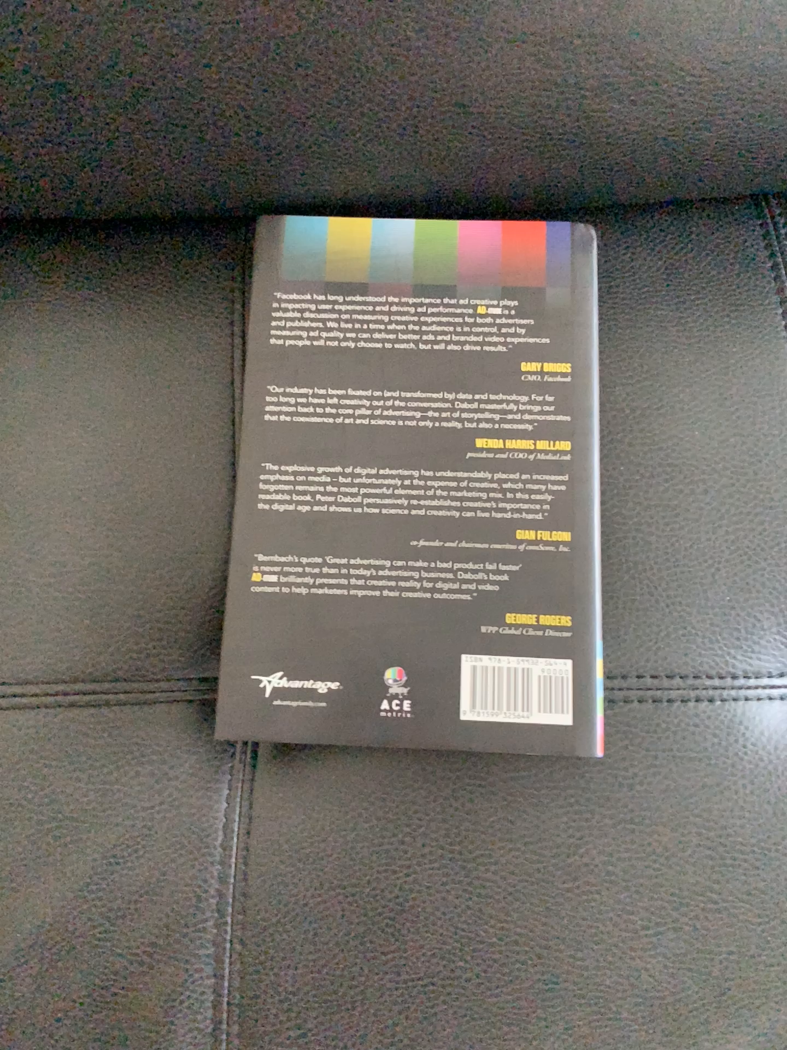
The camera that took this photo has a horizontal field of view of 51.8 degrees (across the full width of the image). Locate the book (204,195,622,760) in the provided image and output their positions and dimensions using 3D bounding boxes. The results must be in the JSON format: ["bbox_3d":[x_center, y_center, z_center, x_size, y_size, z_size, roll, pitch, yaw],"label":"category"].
[{"bbox_3d":[0.012,-0.026,0.349,0.160,0.030,0.236,2,78,2],"label":"book"}]
